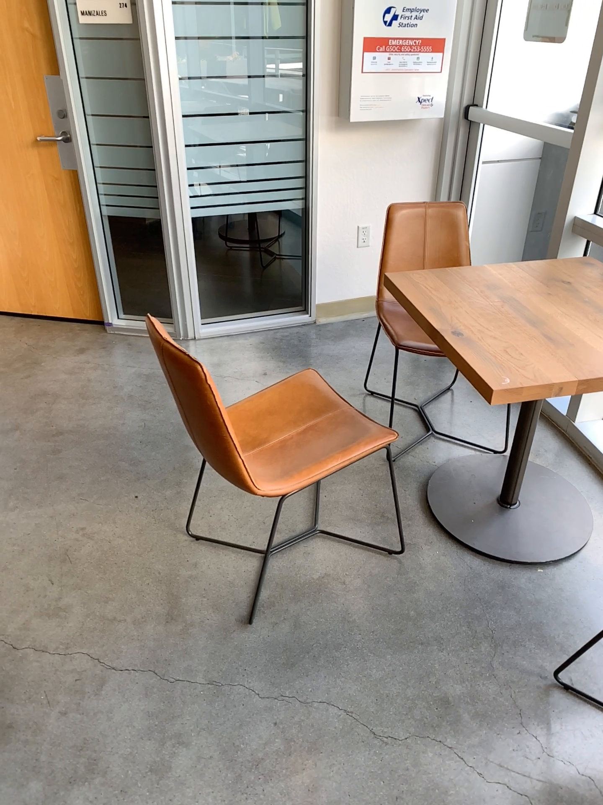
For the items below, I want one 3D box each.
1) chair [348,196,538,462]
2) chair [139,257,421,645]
[{"bbox_3d":[0.494,-0.303,2.418,0.490,0.865,0.553,-4,28,-7],"label":"chair"},{"bbox_3d":[-0.045,0.127,1.793,0.540,0.864,0.493,-22,38,-25],"label":"chair"}]
